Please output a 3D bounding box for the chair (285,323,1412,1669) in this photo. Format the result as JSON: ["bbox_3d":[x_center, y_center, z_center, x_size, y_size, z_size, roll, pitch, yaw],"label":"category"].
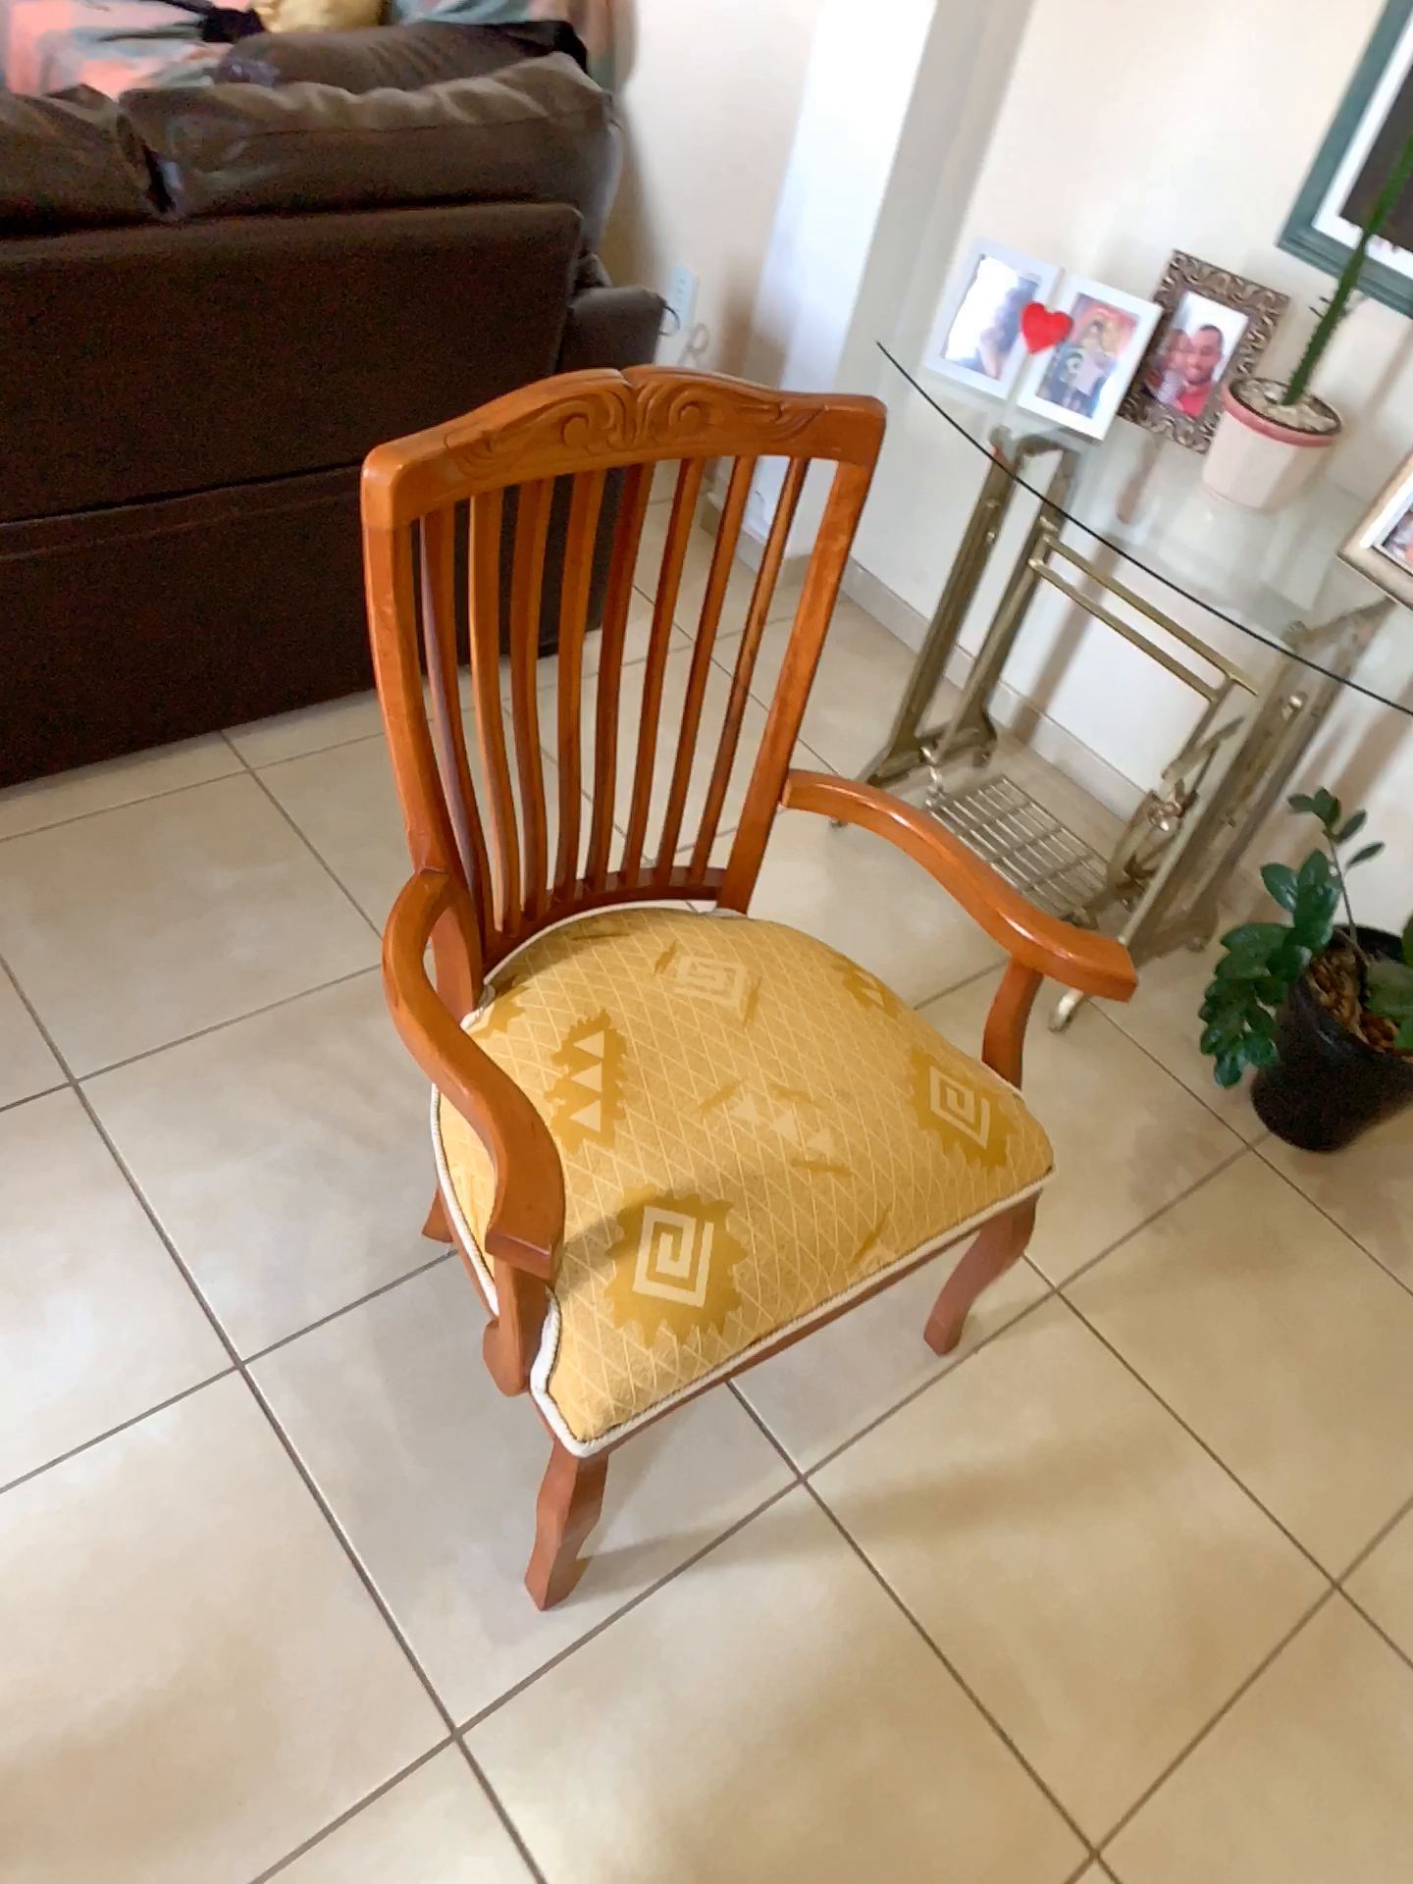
[{"bbox_3d":[0.026,0.065,1.392,0.622,1.014,0.631,-21,55,-33],"label":"chair"}]
